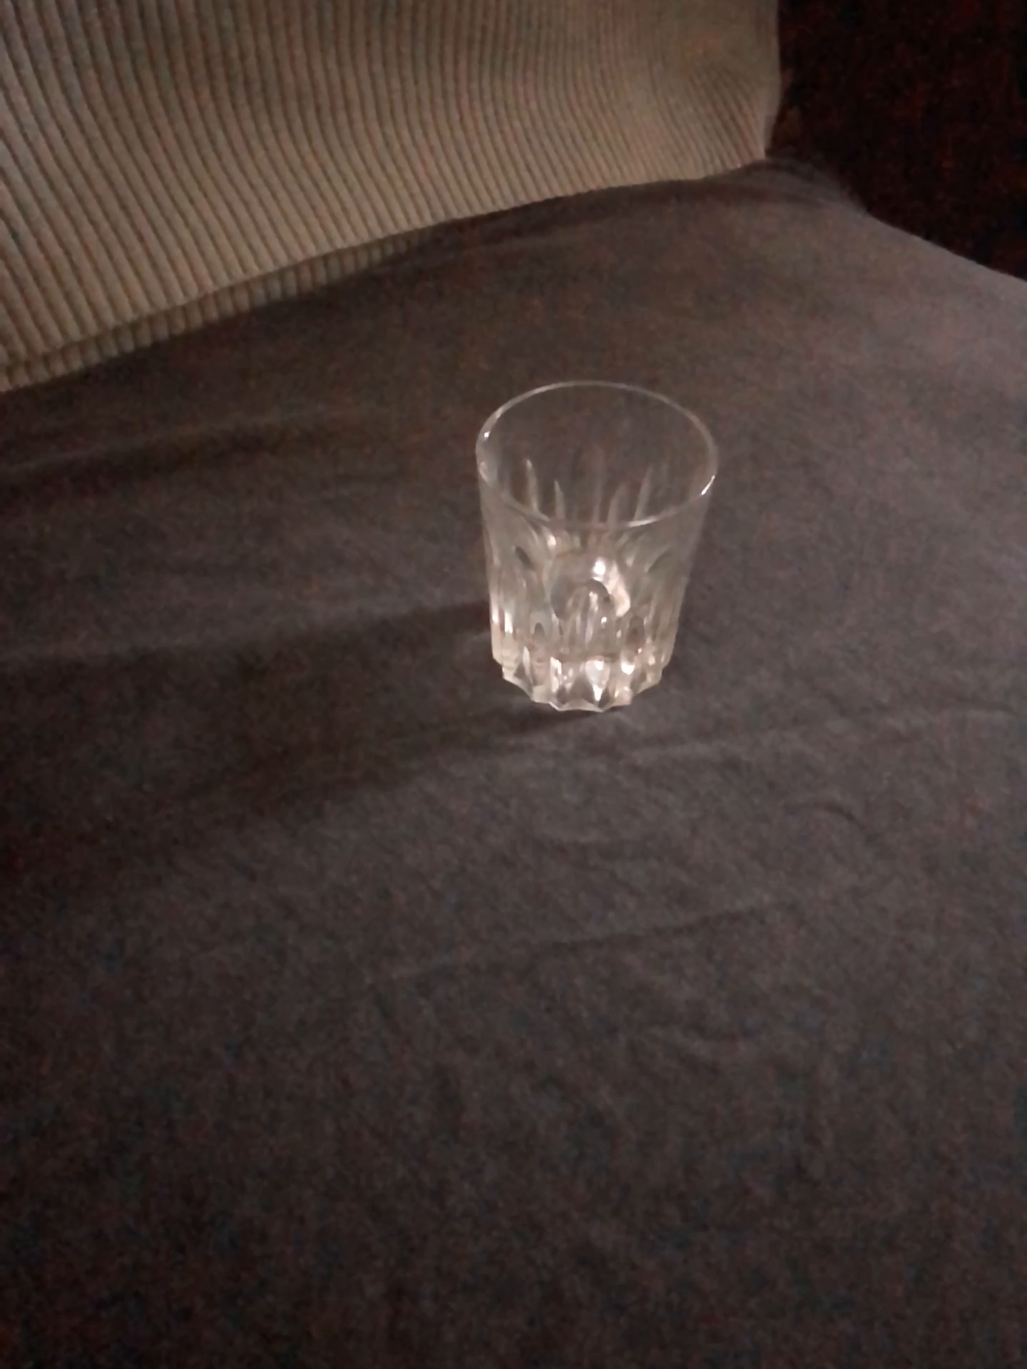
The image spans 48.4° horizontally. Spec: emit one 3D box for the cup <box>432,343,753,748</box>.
[{"bbox_3d":[0.017,-0.035,0.296,0.059,0.078,0.048,-20,50,-20],"label":"cup"}]
